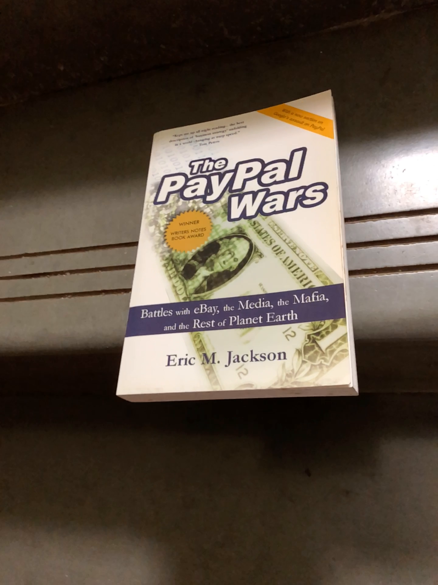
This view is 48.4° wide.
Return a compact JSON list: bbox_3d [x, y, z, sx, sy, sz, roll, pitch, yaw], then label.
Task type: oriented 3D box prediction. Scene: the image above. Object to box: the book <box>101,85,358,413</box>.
[{"bbox_3d":[0.008,-0.034,0.335,0.150,0.030,0.220,-6,63,19],"label":"book"}]
